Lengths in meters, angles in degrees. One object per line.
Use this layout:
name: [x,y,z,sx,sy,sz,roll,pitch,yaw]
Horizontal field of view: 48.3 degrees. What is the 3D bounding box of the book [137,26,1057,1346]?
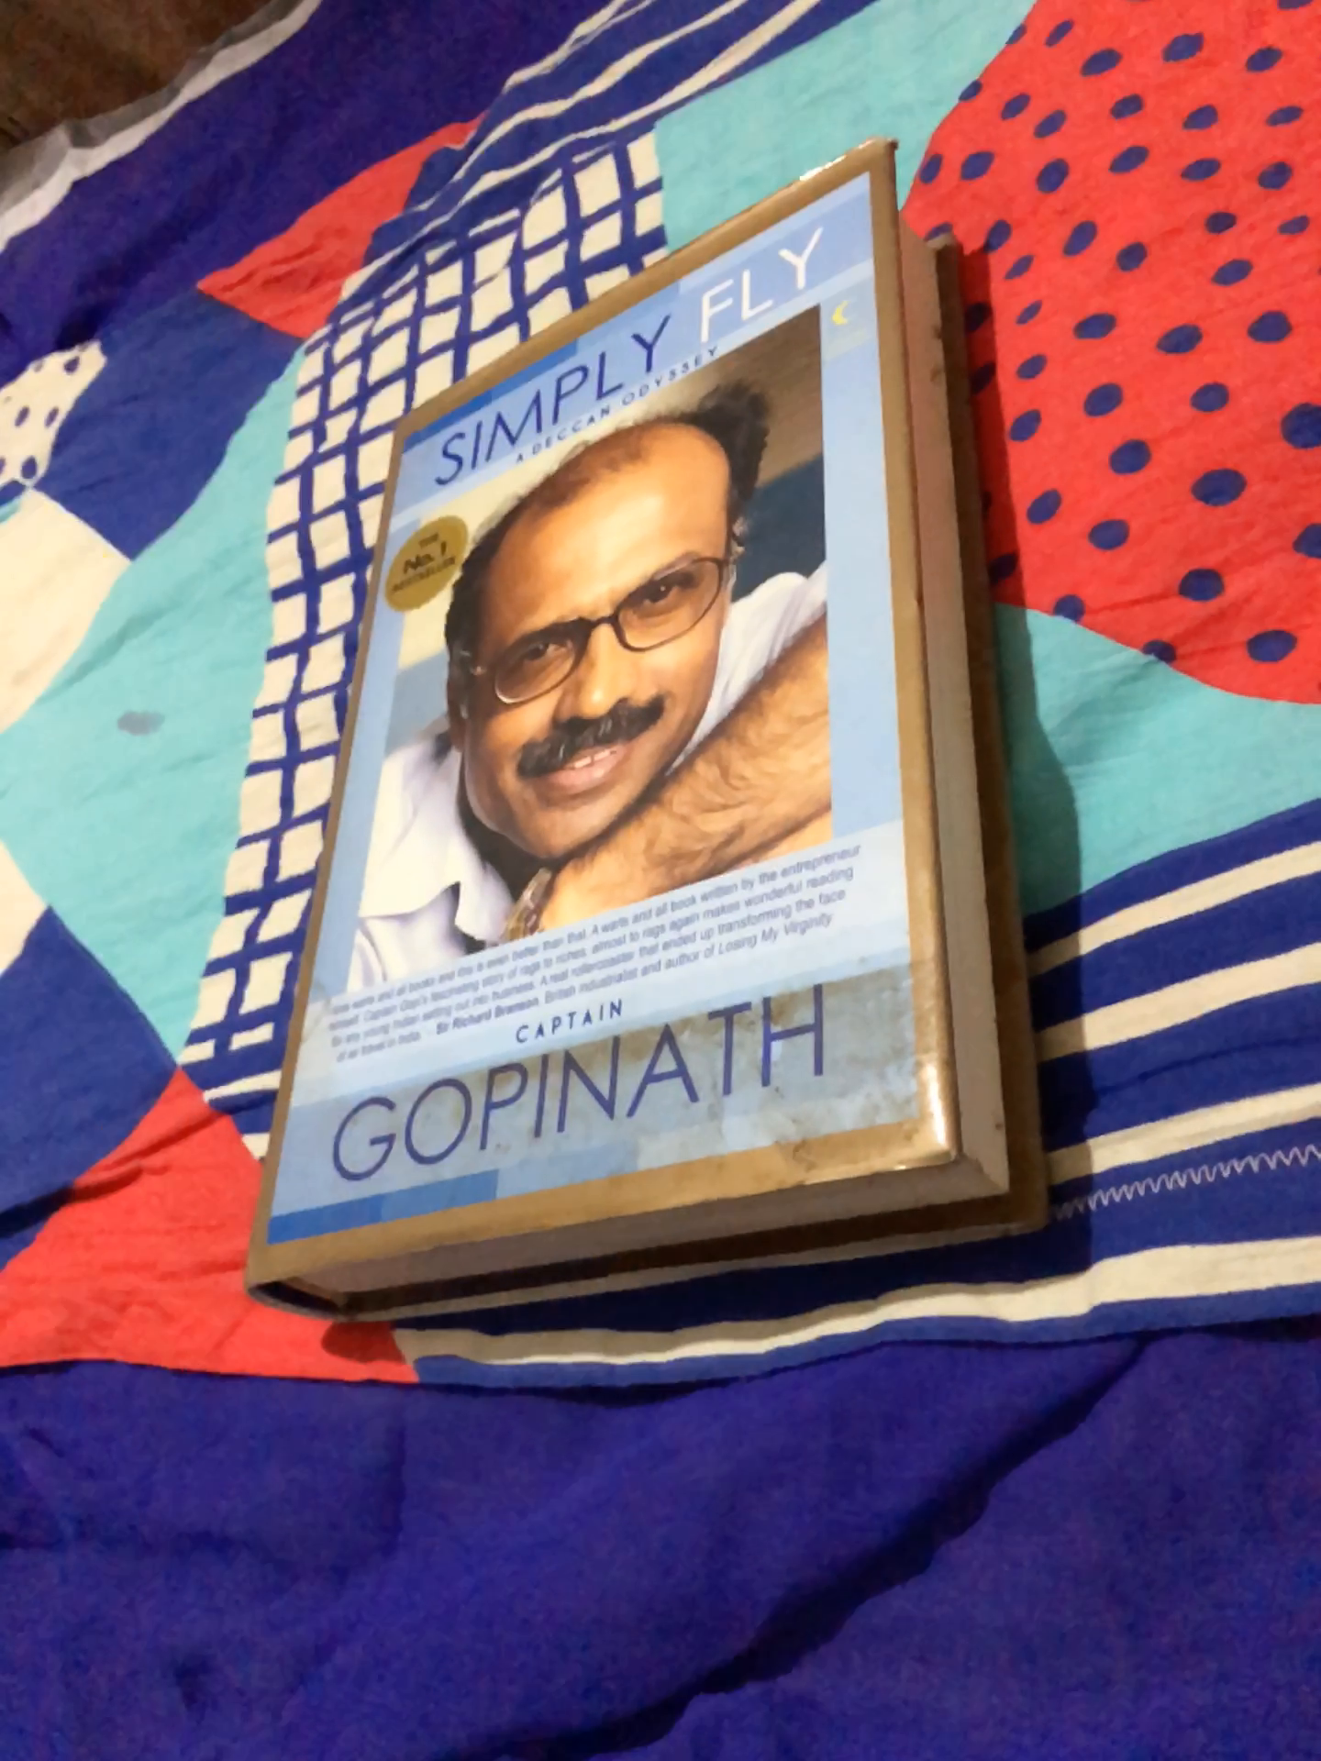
book: [-0.016,-0.042,0.313,0.161,0.050,0.250,-17,57,30]
